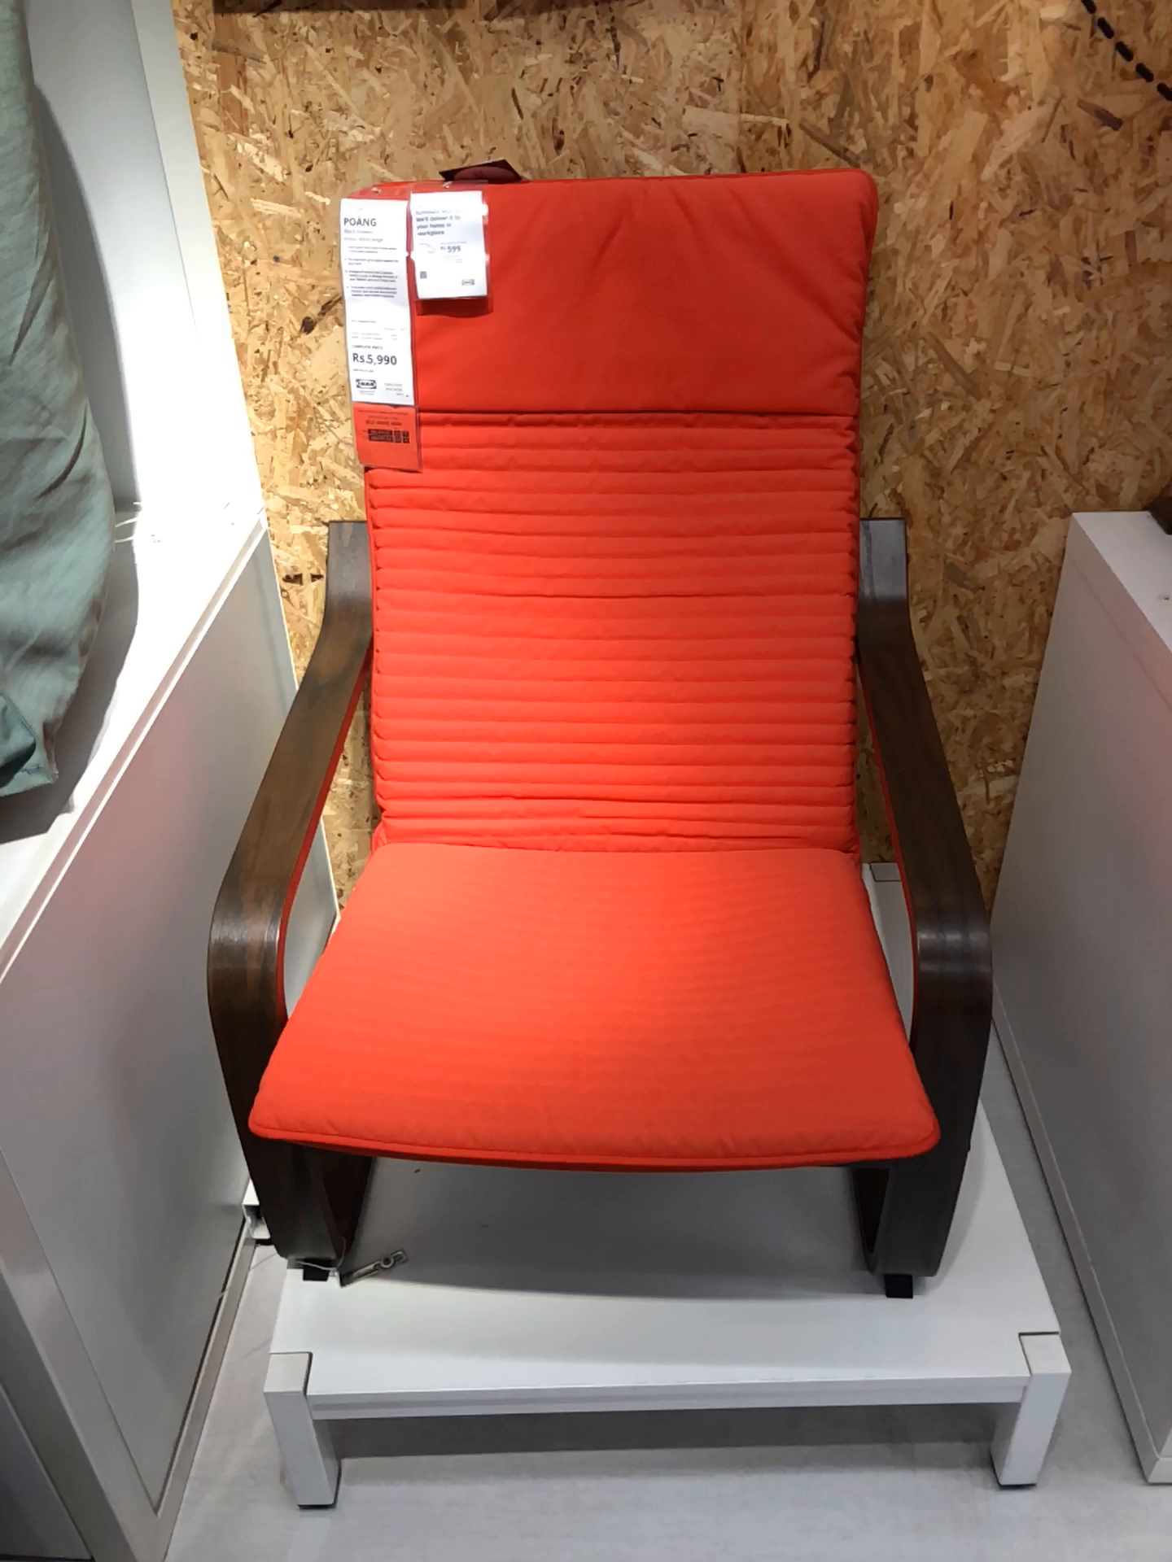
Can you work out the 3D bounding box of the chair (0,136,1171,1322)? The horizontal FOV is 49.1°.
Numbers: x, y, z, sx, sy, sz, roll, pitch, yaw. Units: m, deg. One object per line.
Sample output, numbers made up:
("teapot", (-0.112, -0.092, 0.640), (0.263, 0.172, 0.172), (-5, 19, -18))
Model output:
("chair", (0.015, -0.085, 1.302), (0.750, 0.894, 0.796), (0, 35, 3))
